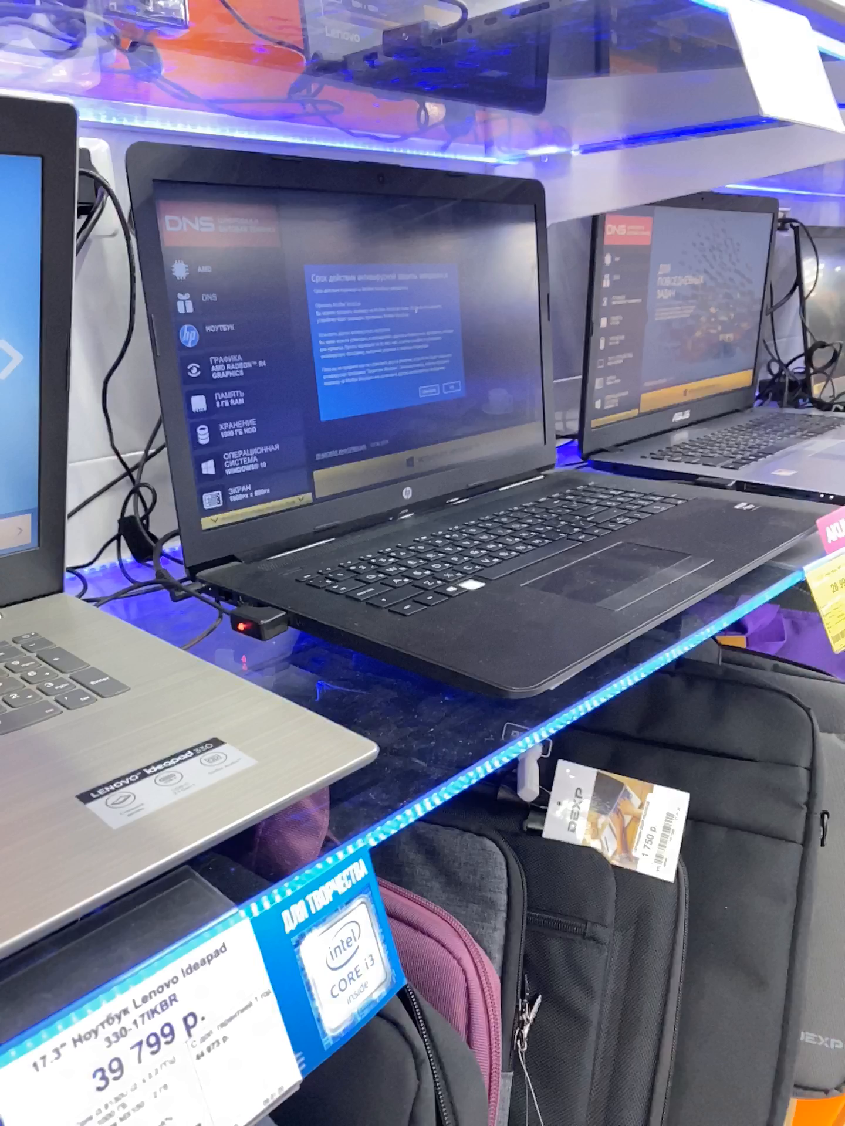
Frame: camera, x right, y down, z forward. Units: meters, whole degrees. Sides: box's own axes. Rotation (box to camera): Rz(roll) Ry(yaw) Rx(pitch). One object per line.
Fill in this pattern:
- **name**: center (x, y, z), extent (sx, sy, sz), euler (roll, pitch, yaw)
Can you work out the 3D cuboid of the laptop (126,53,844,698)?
- **laptop**: center (0.079, -0.141, 0.599), extent (0.294, 0.260, 0.420), euler (14, 23, 40)
